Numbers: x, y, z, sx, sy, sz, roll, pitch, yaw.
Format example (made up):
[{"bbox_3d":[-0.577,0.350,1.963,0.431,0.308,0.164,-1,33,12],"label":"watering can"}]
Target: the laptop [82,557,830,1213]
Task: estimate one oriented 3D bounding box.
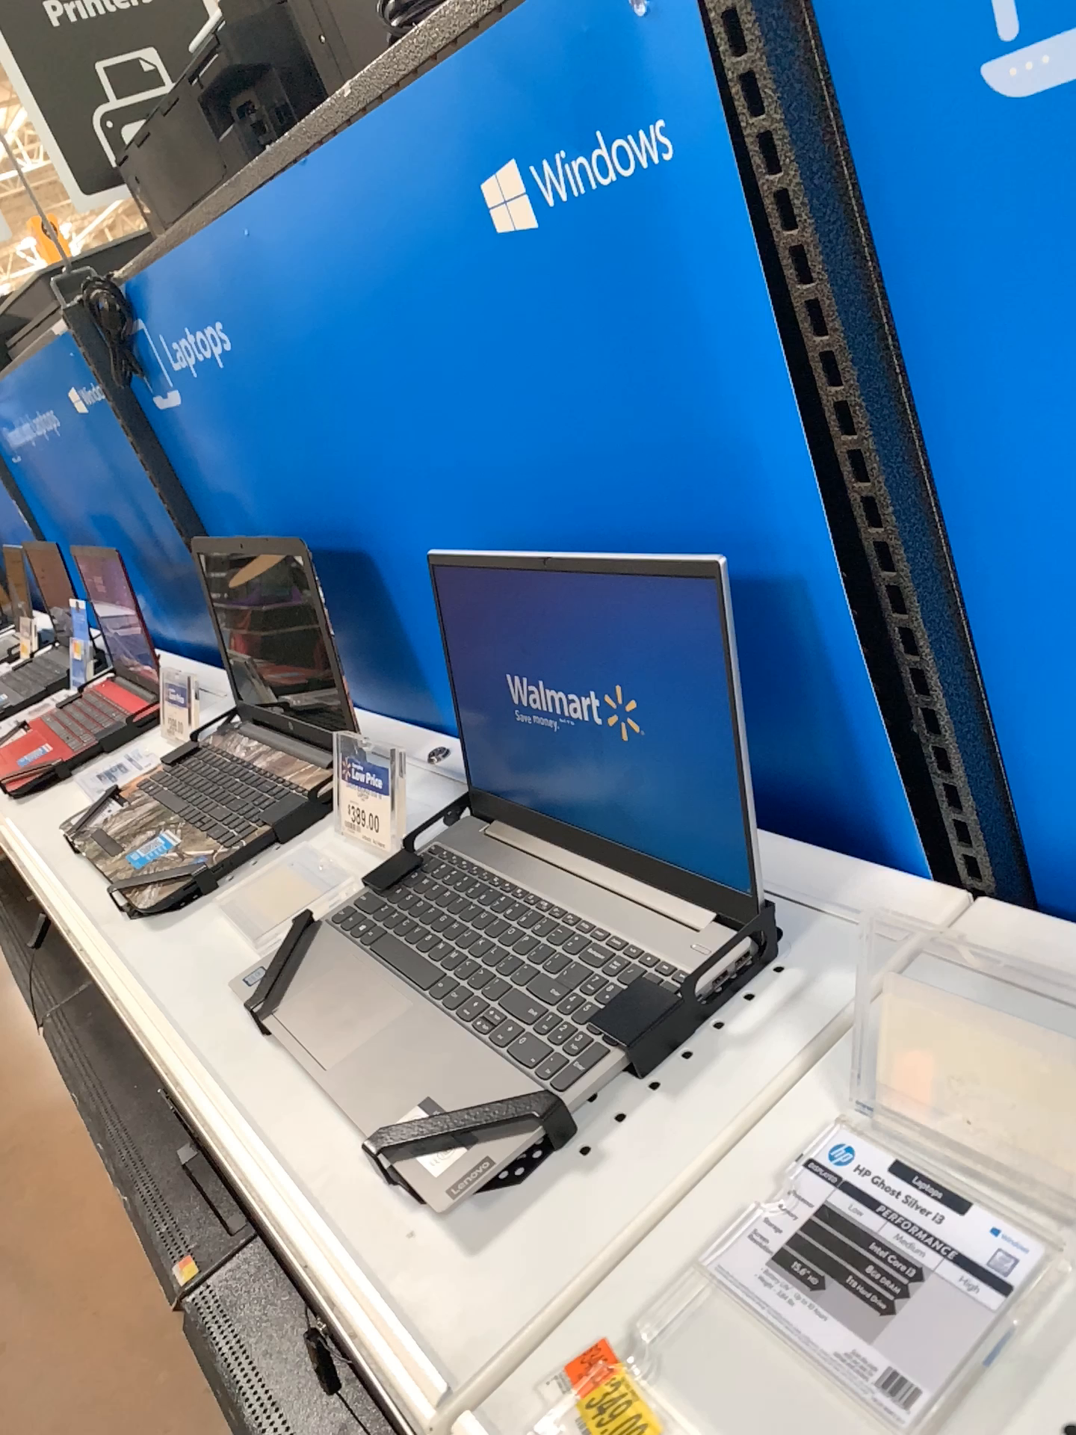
[{"bbox_3d":[-0.071,0.060,0.720,0.298,0.217,0.352,-34,23,-24],"label":"laptop"}]
